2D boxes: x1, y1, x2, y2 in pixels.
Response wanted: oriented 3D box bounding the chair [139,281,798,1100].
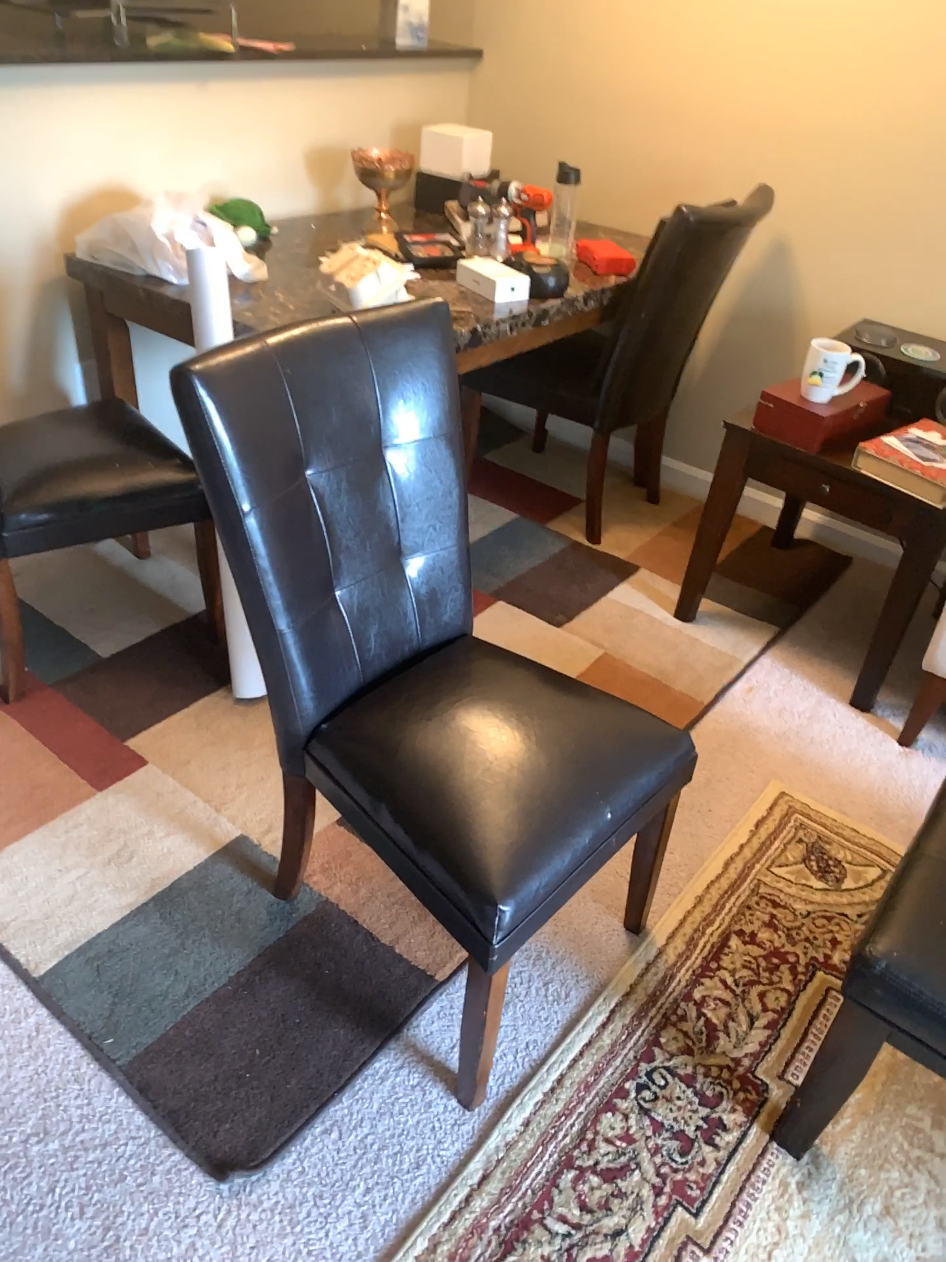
[{"bbox_3d":[-0.045,0.062,1.442,0.652,0.915,0.491,29,41,30],"label":"chair"}]
